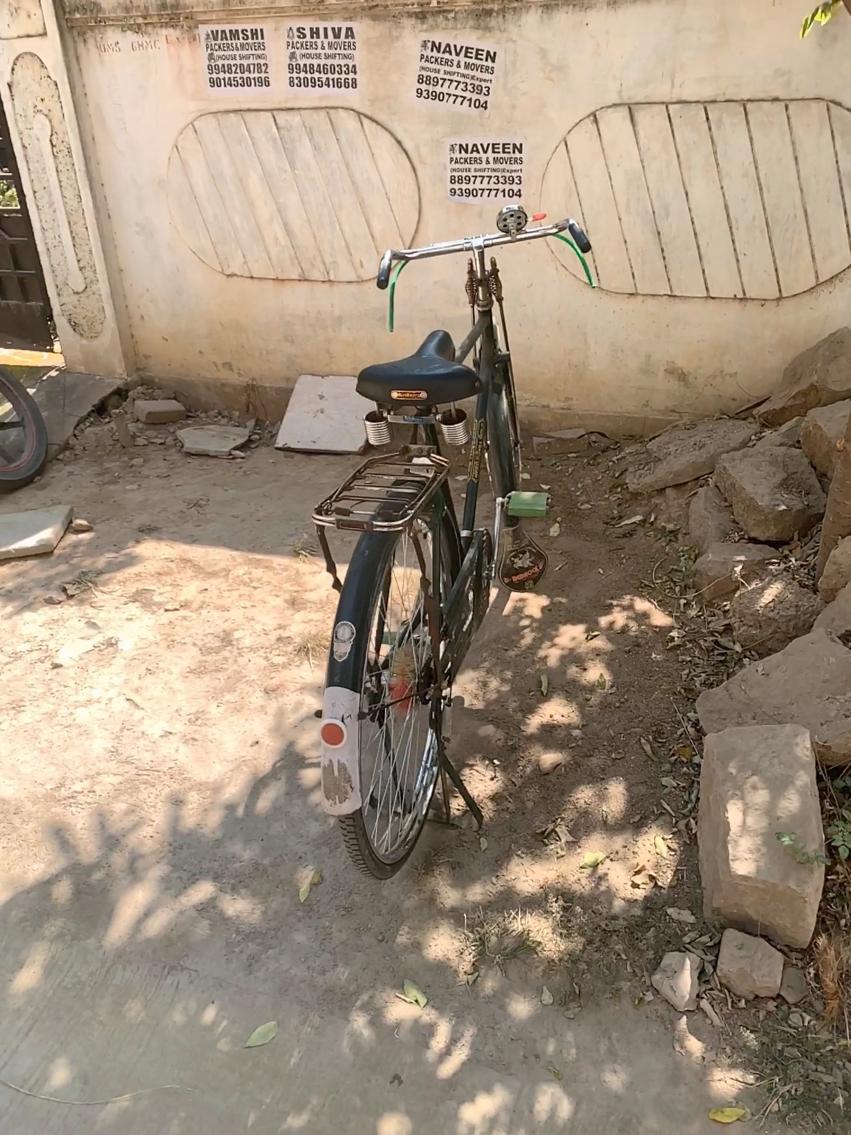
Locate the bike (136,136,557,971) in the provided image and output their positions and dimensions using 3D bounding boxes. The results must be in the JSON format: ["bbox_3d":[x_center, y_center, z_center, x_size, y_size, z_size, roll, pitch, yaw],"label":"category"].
[{"bbox_3d":[0.008,-0.254,1.955,0.465,0.994,1.660,3,34,10],"label":"bike"}]
